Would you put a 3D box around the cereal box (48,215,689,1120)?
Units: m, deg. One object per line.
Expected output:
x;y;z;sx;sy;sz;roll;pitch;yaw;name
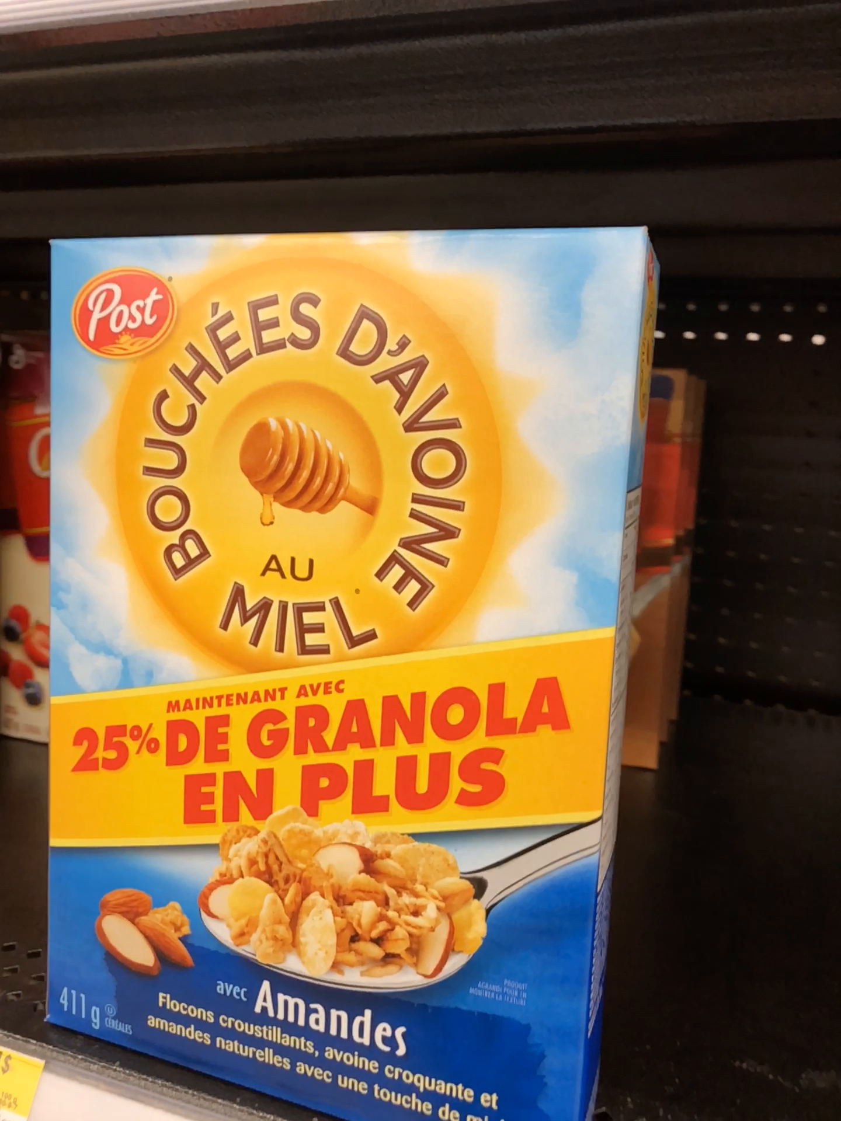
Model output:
-0.025;0.035;0.309;0.190;0.269;0.060;6;7;22;cereal box
